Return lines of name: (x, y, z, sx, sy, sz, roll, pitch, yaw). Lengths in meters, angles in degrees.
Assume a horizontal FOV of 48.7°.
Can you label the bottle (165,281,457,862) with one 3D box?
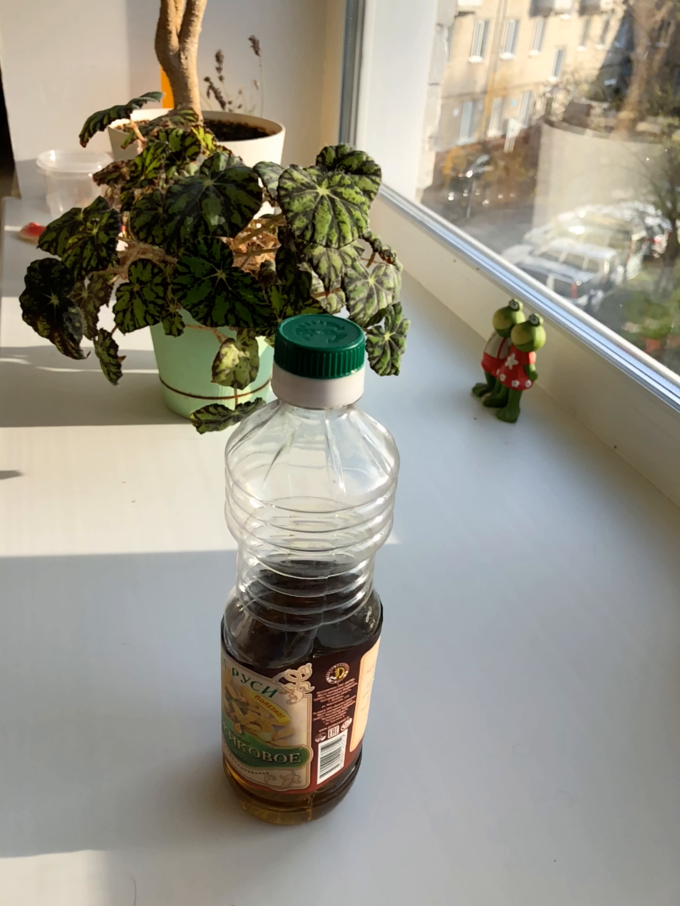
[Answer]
bottle: (-0.016, 0.054, 0.290, 0.068, 0.217, 0.061, -20, 40, -34)
